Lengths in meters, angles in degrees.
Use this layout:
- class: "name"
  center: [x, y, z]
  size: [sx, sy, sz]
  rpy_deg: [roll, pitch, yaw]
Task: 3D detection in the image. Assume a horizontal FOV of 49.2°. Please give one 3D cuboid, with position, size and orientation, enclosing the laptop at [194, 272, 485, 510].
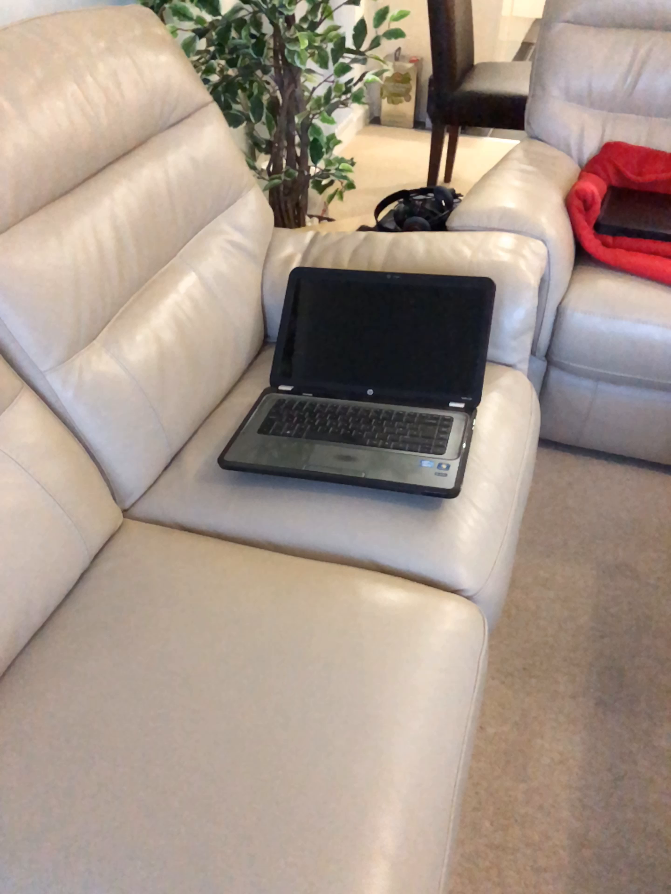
- class: "laptop"
  center: [0.030, -0.115, 1.166]
  size: [0.358, 0.114, 0.426]
  rpy_deg: [8, 41, 12]
